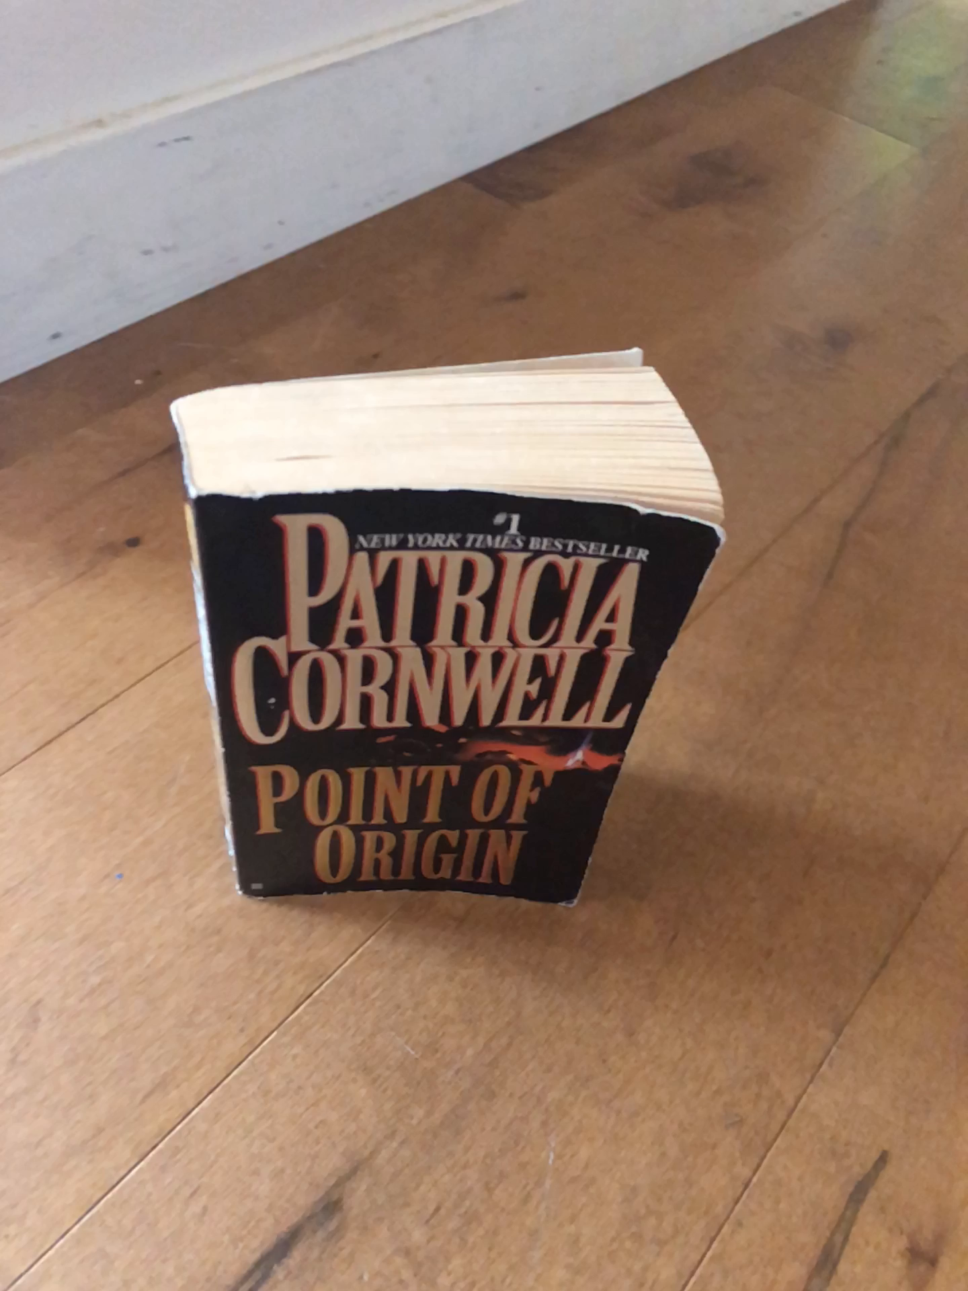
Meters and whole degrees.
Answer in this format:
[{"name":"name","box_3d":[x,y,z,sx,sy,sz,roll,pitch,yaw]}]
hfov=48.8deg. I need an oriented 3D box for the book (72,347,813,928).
[{"name":"book","box_3d":[-0.016,0.008,0.263,0.130,0.159,0.050,-3,53,-10]}]
